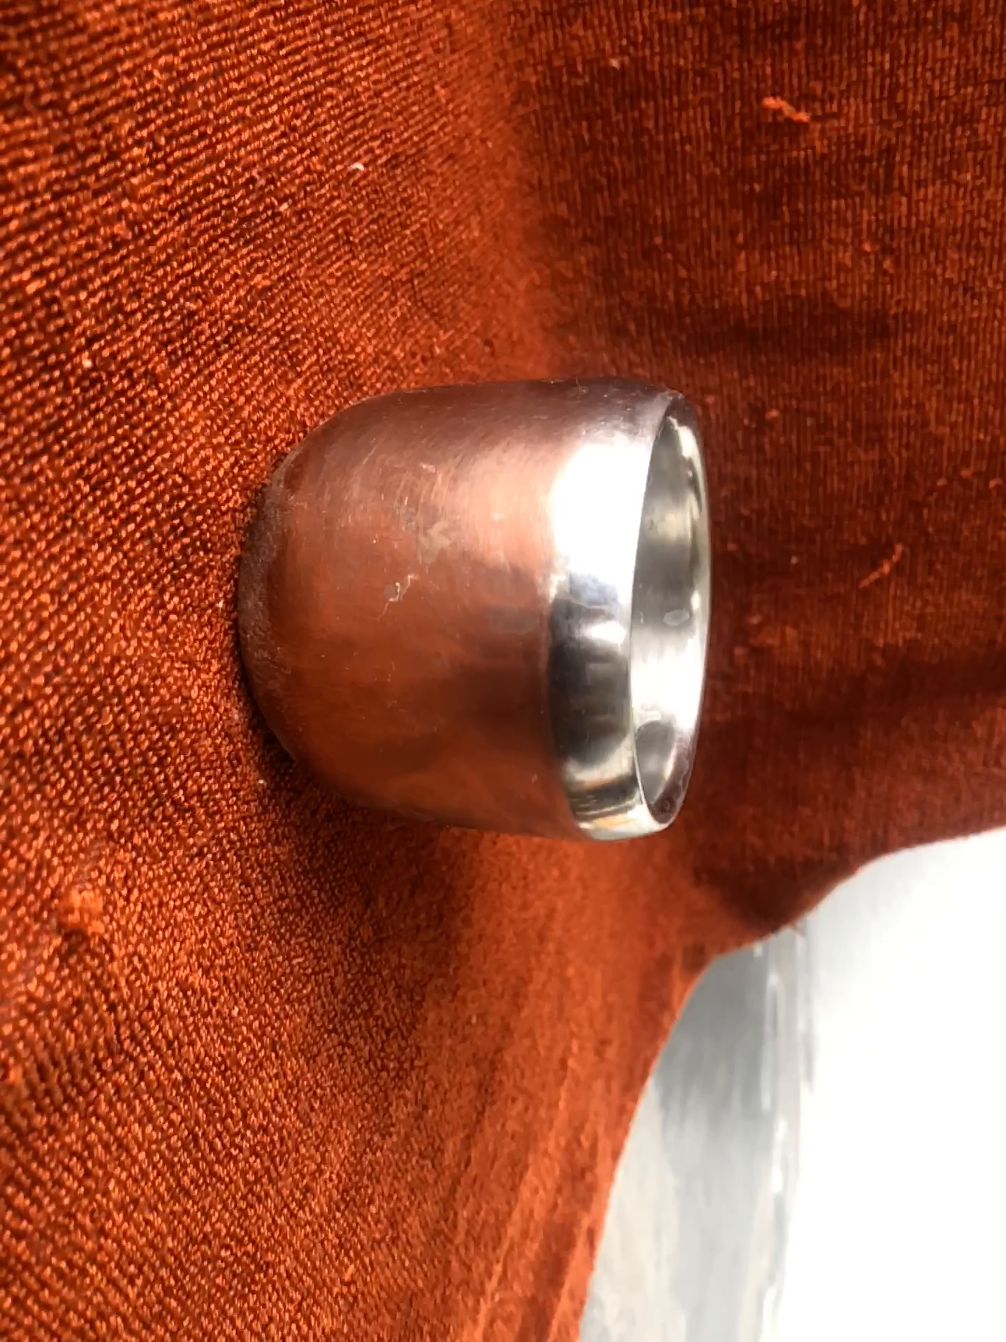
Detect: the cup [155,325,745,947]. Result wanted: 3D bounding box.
[{"bbox_3d":[0.002,0.000,0.186,0.090,0.060,0.060,61,37,-57],"label":"cup"}]
